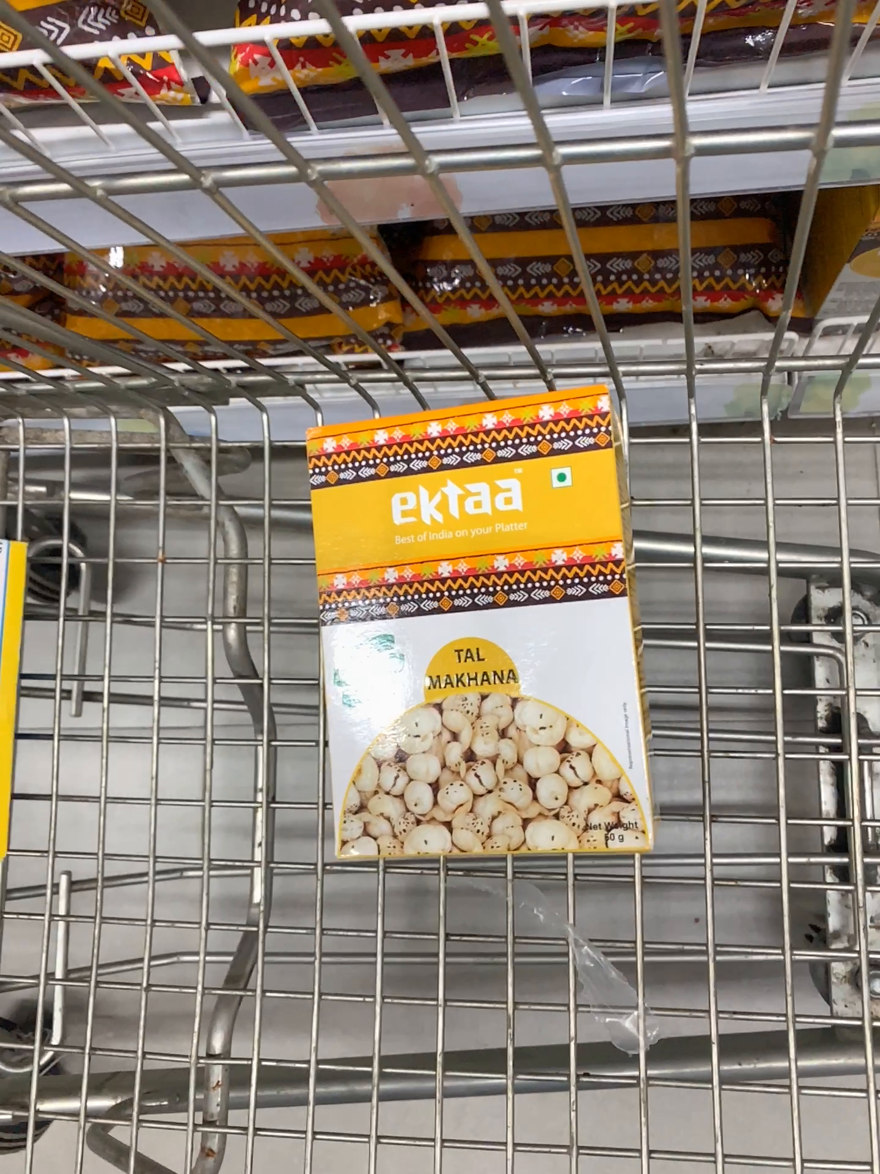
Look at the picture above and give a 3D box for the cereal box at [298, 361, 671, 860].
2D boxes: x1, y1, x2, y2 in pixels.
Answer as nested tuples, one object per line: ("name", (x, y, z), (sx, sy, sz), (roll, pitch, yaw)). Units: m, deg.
("cereal box", (0.021, 0.014, 0.380), (0.130, 0.070, 0.180), (-6, 86, 15))
